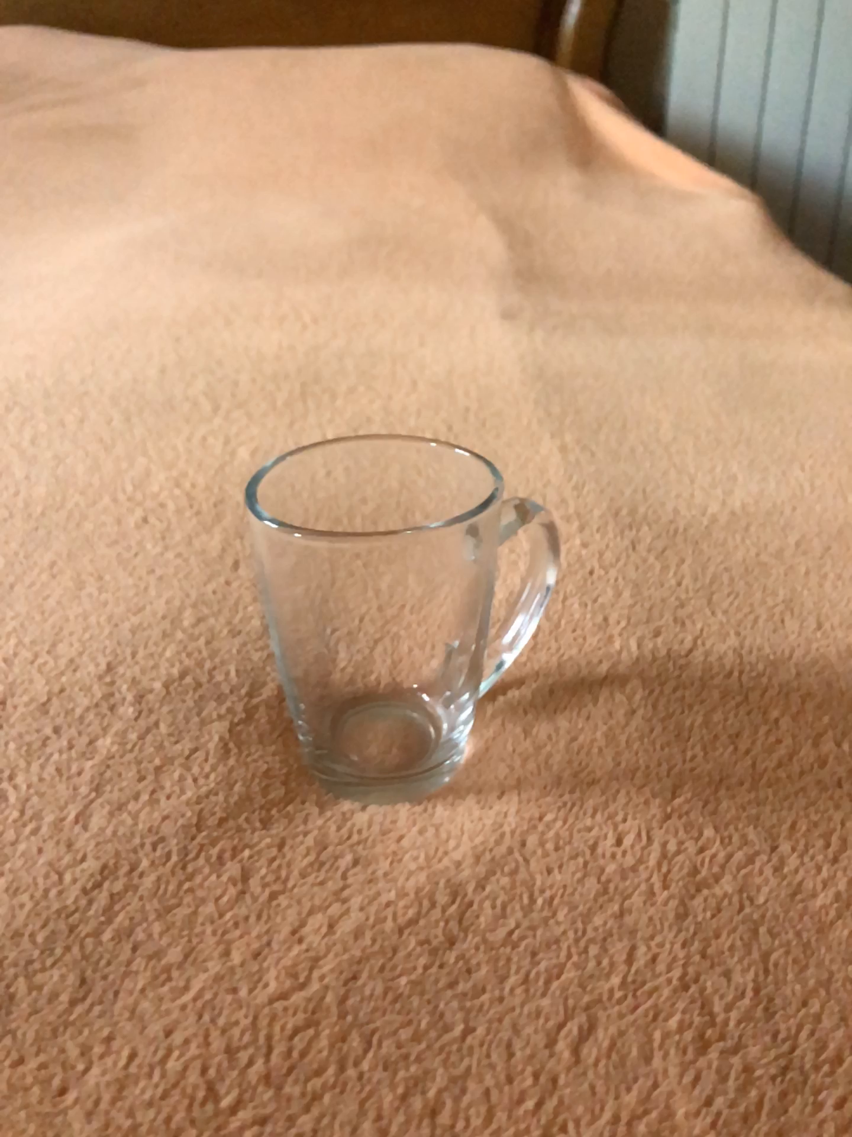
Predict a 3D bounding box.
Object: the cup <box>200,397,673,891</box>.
[{"bbox_3d":[0.003,0.014,0.267,0.100,0.089,0.070,-17,33,-28],"label":"cup"}]
